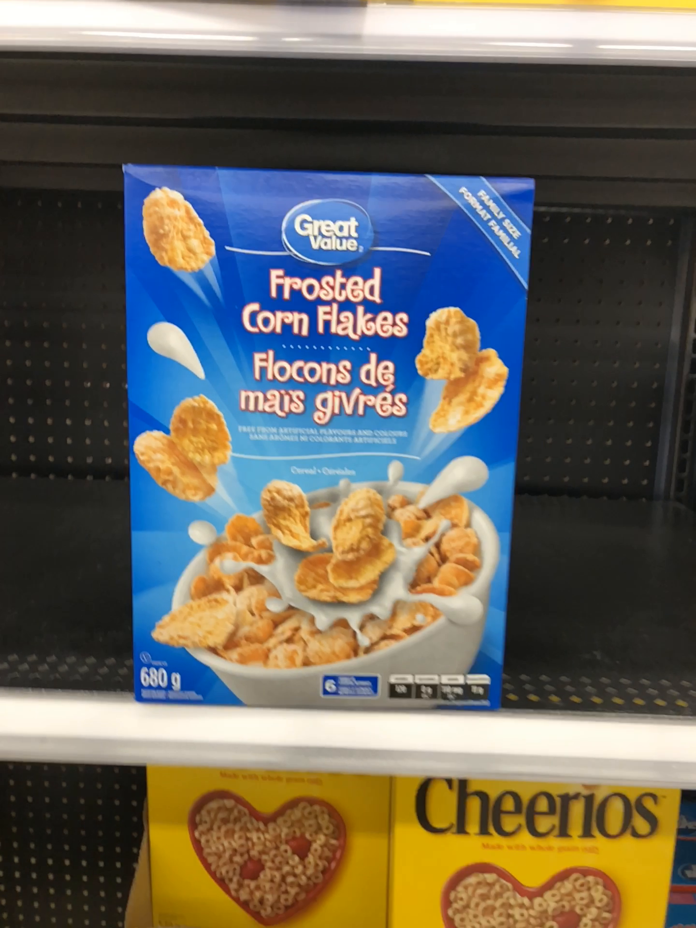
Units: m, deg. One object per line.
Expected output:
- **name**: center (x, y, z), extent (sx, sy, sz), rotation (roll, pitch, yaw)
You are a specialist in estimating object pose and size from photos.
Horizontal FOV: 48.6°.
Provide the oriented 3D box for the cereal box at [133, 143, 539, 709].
- **cereal box**: center (-0.011, -0.017, 0.465), extent (0.210, 0.309, 0.080), rotation (1, 10, -3)
